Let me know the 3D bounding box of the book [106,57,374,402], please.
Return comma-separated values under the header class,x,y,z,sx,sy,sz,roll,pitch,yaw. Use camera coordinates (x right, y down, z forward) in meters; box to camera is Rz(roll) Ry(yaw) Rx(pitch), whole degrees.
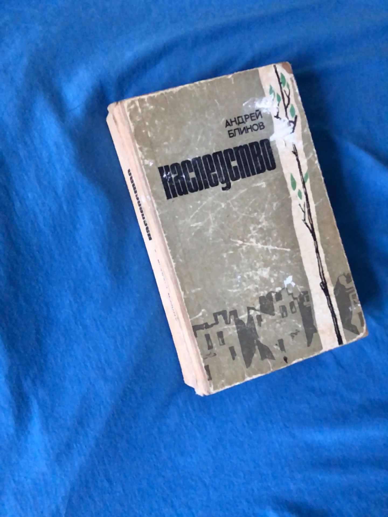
class,x,y,z,sx,sy,sz,roll,pitch,yaw
book,0.031,-0.023,0.305,0.130,0.040,0.200,-17,91,-13
